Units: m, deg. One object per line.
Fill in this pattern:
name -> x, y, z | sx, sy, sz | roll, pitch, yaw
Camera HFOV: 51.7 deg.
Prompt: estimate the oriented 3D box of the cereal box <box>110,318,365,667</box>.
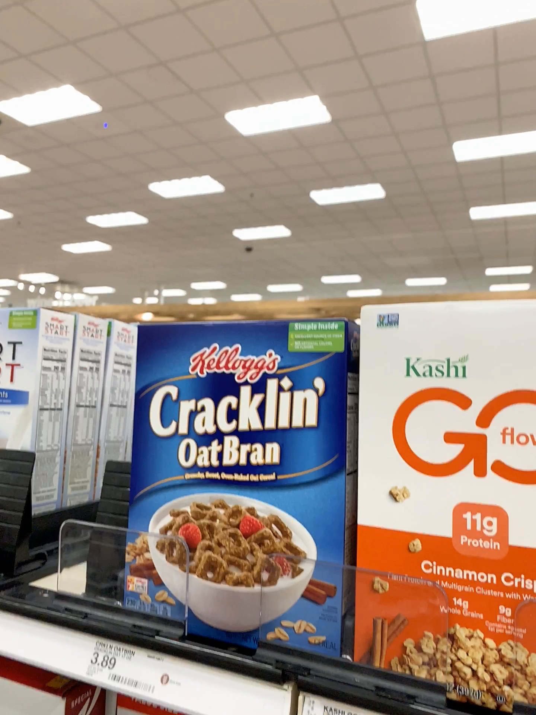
cereal box -> -0.025, 0.091, 0.442 | 0.190, 0.240, 0.050 | 1, -4, 20
